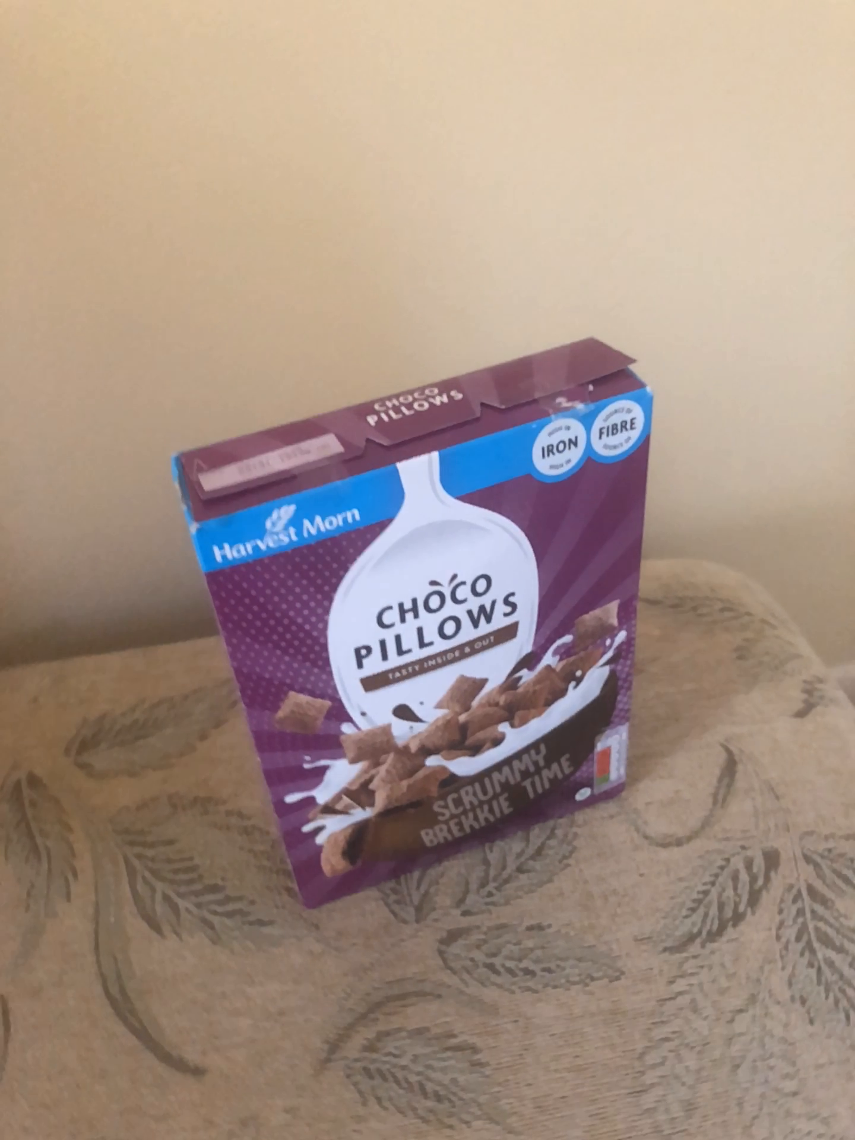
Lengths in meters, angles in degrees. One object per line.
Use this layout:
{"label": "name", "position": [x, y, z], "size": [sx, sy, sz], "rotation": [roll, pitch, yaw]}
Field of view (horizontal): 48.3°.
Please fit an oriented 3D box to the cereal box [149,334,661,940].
{"label": "cereal box", "position": [0.000, 0.046, 0.474], "size": [0.200, 0.278, 0.060], "rotation": [-18, 42, -17]}
